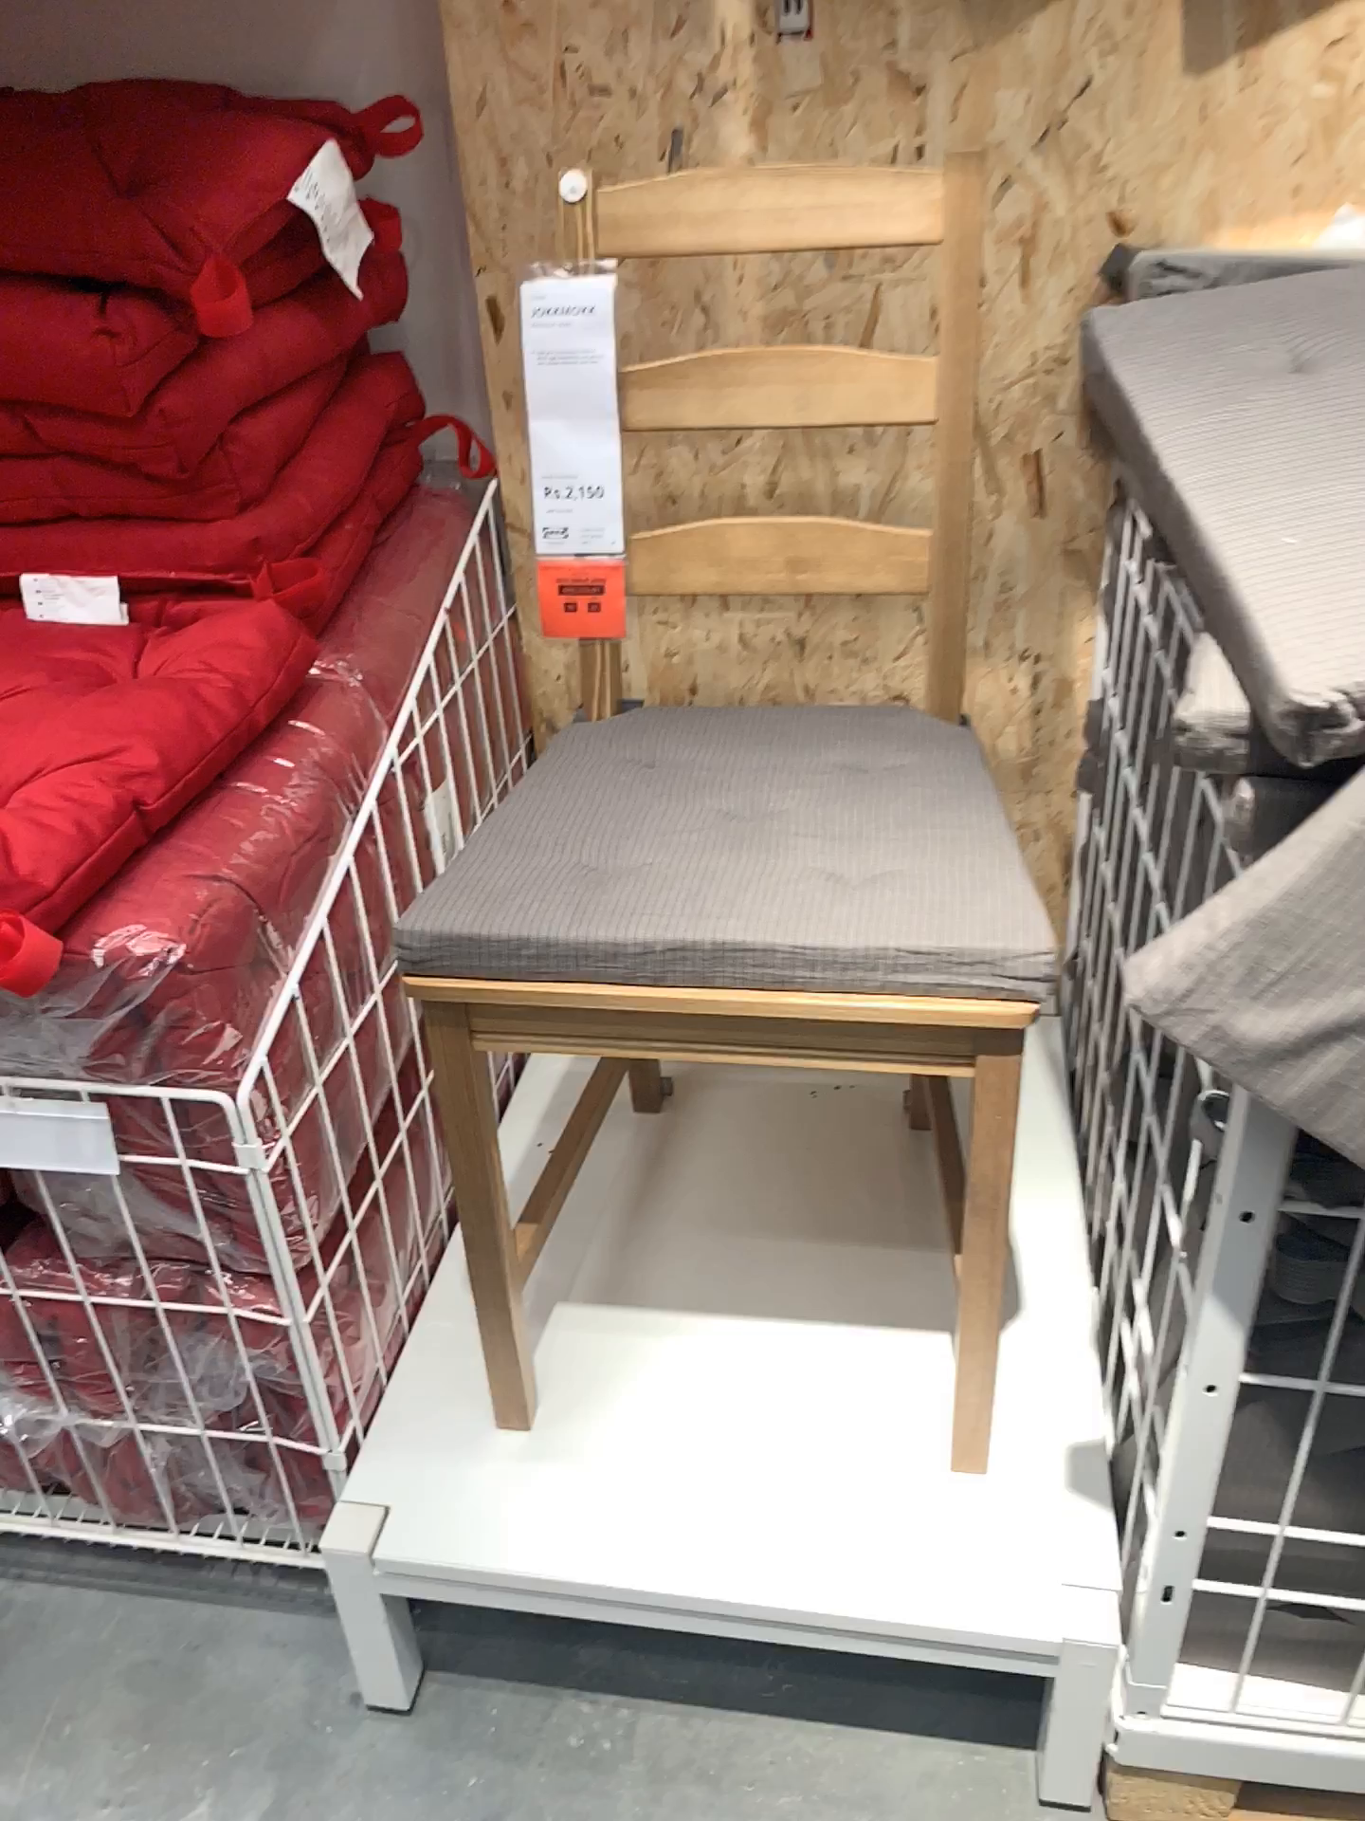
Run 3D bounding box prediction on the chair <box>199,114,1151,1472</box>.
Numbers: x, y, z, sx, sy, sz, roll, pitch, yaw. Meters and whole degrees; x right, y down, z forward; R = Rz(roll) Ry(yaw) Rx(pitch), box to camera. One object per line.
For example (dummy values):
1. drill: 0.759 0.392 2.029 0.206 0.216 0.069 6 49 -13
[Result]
1. chair: 0.050 -0.088 1.065 0.440 0.866 0.502 2 31 10
